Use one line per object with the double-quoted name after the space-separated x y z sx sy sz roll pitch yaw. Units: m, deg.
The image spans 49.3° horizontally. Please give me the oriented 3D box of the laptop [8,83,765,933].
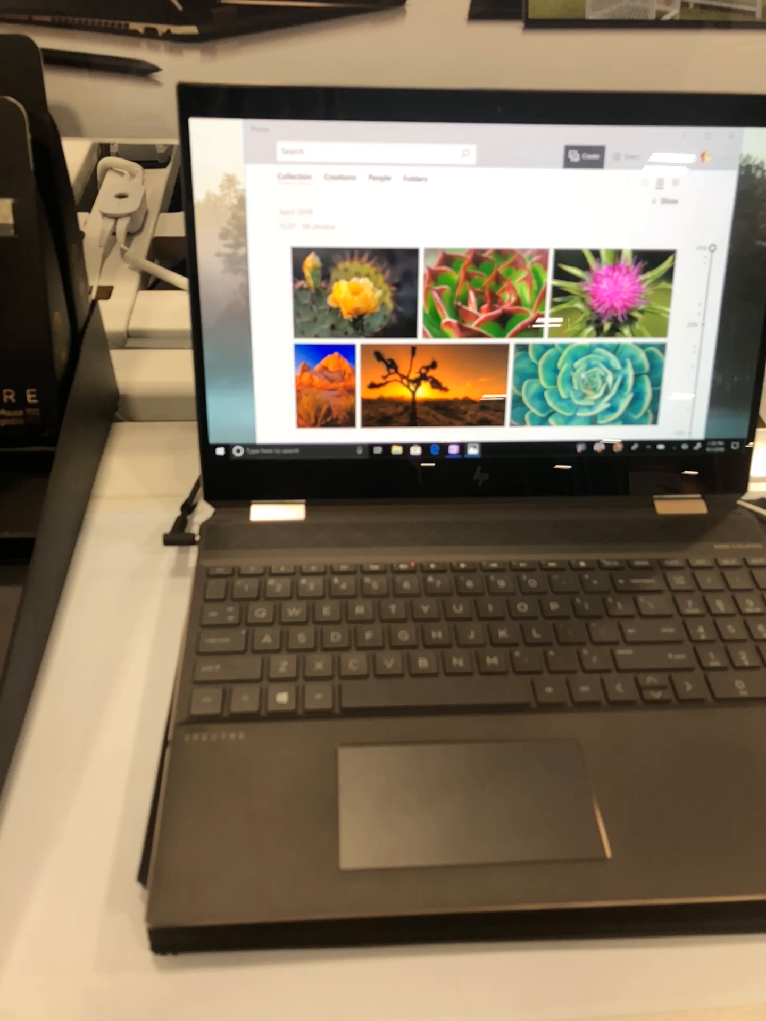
0.069 -0.031 0.412 0.348 0.209 0.360 -1 45 -4 "laptop"
